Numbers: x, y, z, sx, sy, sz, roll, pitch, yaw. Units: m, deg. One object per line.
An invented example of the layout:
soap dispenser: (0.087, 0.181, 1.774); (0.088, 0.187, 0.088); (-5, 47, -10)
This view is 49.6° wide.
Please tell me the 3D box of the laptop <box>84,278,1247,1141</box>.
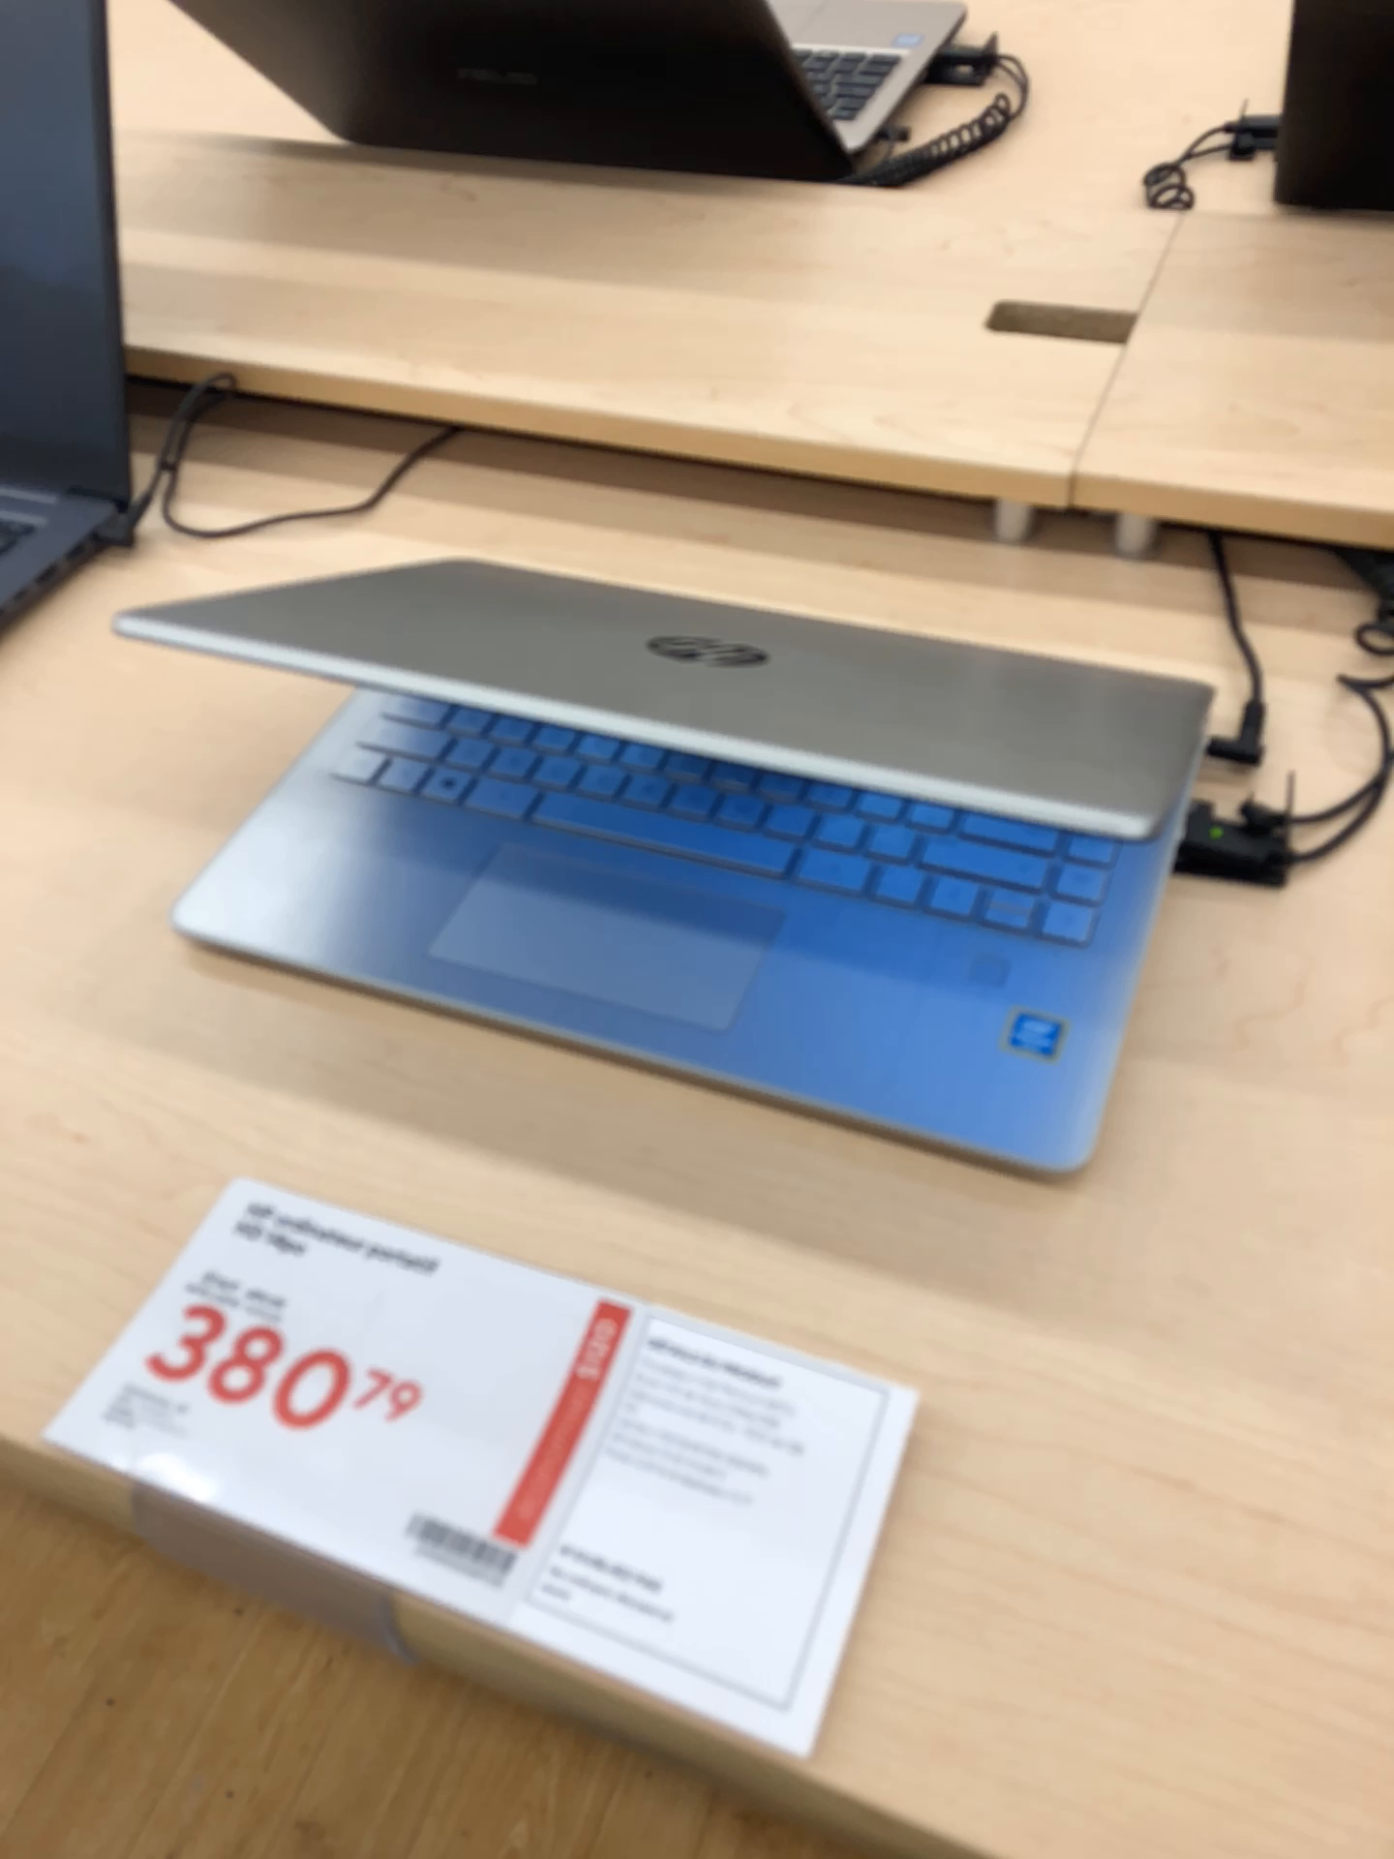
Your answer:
laptop: (-0.007, -0.101, 0.495); (0.319, 0.104, 0.216); (17, 50, 24)
